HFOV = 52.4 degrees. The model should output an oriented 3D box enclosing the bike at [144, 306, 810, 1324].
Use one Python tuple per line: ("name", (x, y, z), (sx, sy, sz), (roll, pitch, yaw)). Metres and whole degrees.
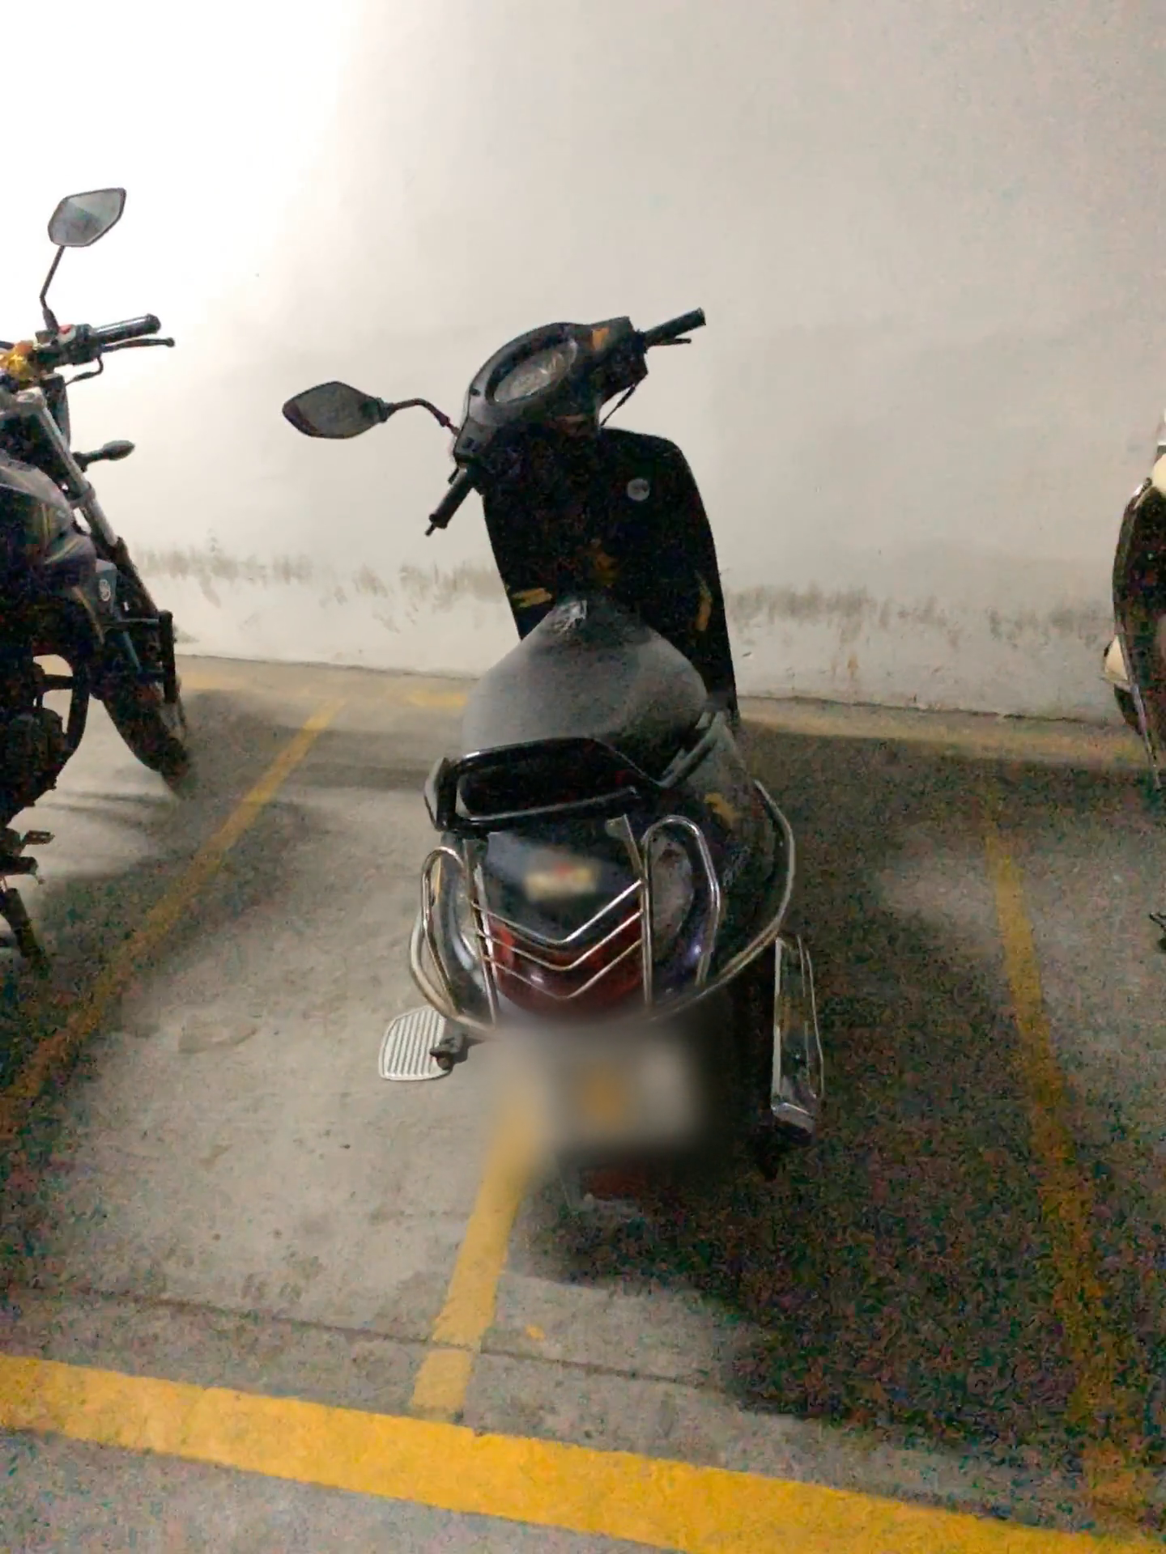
("bike", (-0.093, -0.086, 2.147), (0.652, 1.239, 1.539), (-1, 29, 1))
